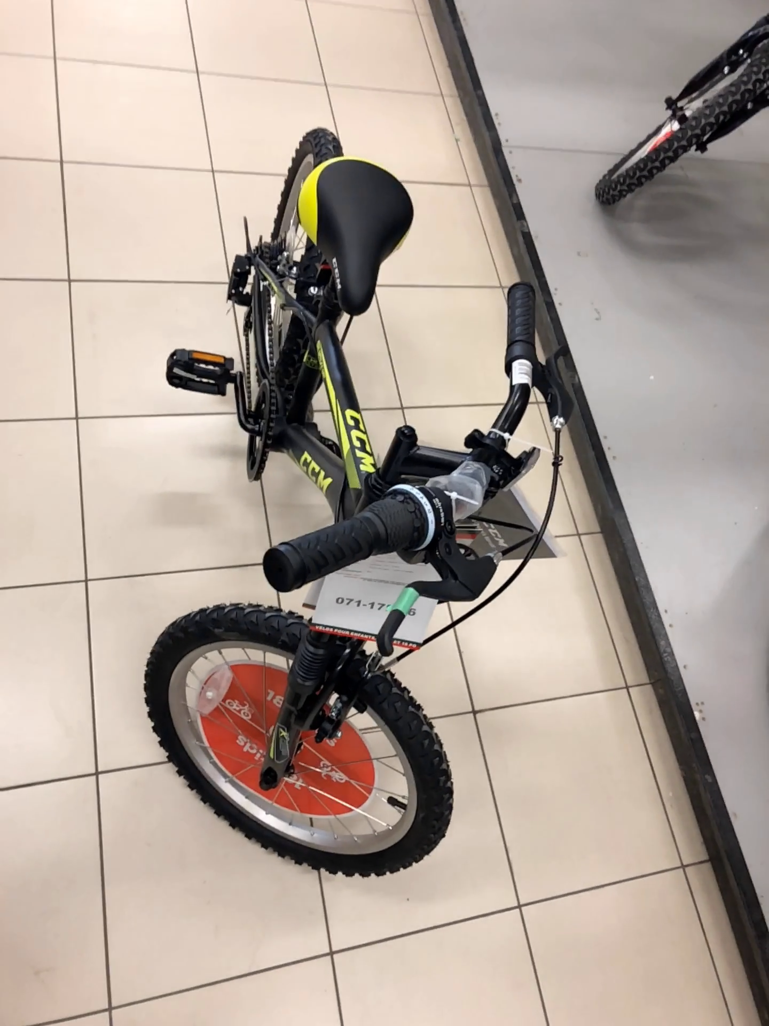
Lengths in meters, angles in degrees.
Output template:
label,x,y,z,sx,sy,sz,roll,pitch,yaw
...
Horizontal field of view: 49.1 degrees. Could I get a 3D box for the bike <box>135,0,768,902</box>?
label,x,y,z,sx,sy,sz,roll,pitch,yaw
bike,-0.019,-0.176,1.143,0.549,0.862,1.196,-3,65,-18
